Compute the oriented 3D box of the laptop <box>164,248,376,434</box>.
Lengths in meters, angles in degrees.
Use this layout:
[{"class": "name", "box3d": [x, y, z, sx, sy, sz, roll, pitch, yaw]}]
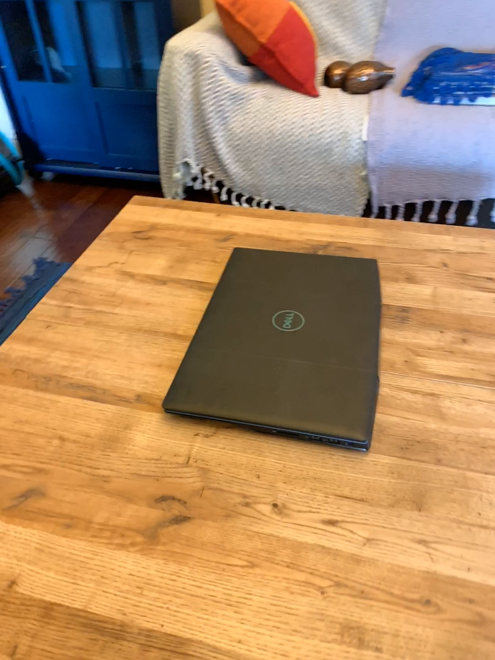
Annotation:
[{"class": "laptop", "box3d": [0.054, -0.012, 0.695, 0.227, 0.001, 0.347, 7, 42, 11]}]
